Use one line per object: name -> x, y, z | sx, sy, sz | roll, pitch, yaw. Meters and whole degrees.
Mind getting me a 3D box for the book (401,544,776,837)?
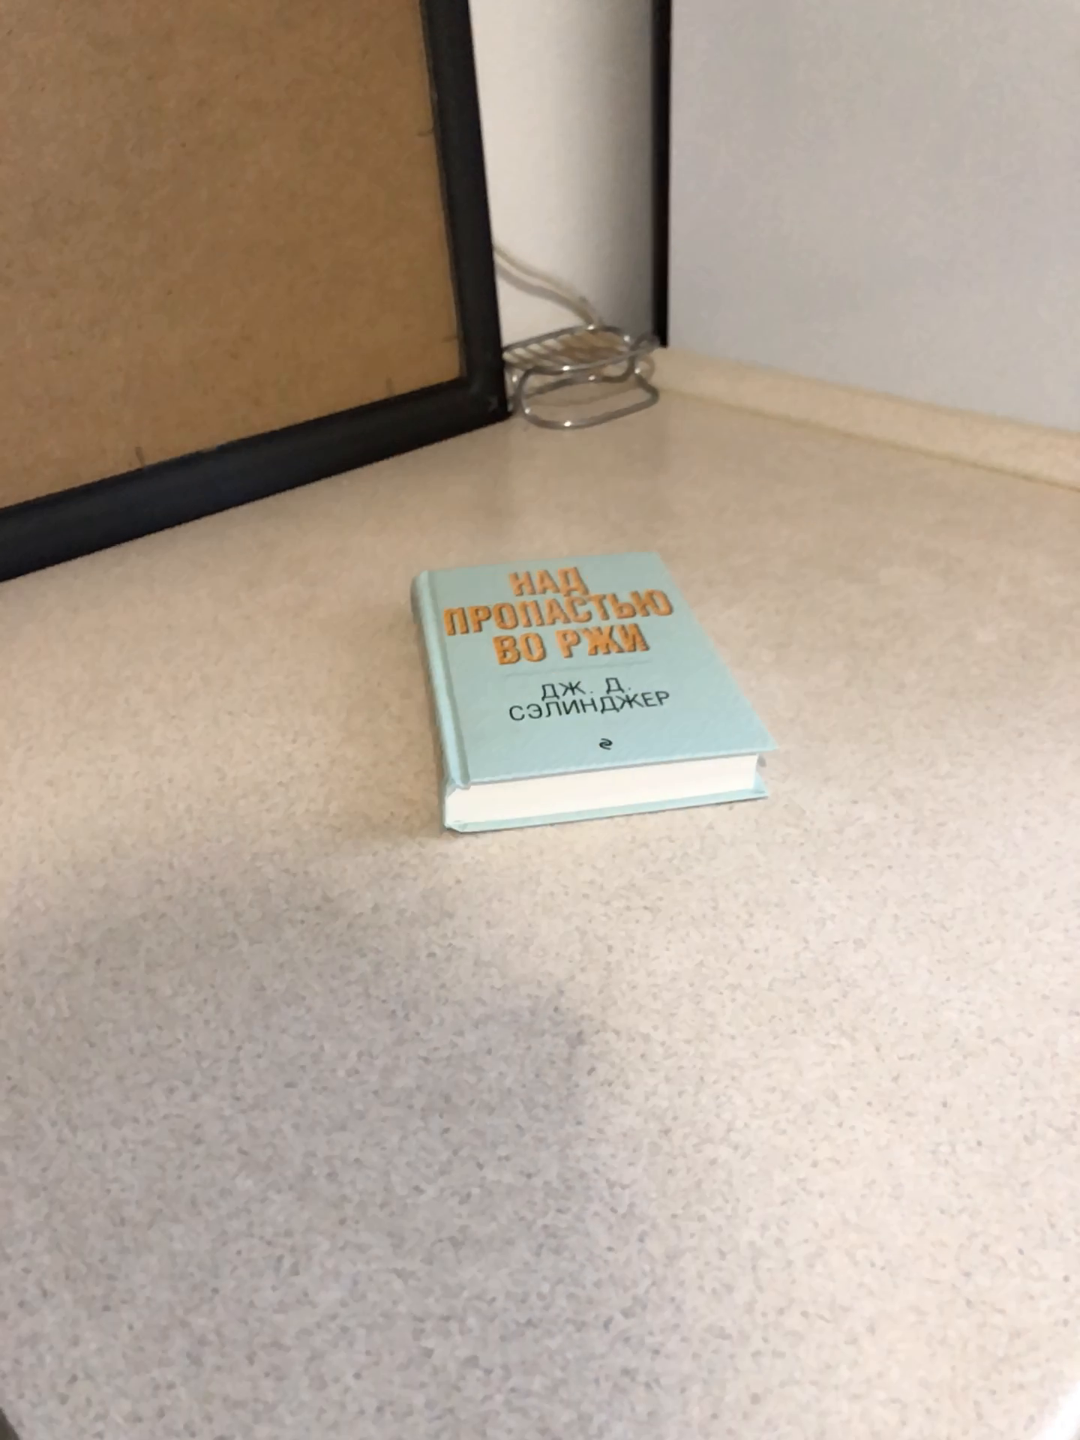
book -> 0.009, -0.021, 0.468 | 0.115, 0.020, 0.176 | -7, 31, -6
